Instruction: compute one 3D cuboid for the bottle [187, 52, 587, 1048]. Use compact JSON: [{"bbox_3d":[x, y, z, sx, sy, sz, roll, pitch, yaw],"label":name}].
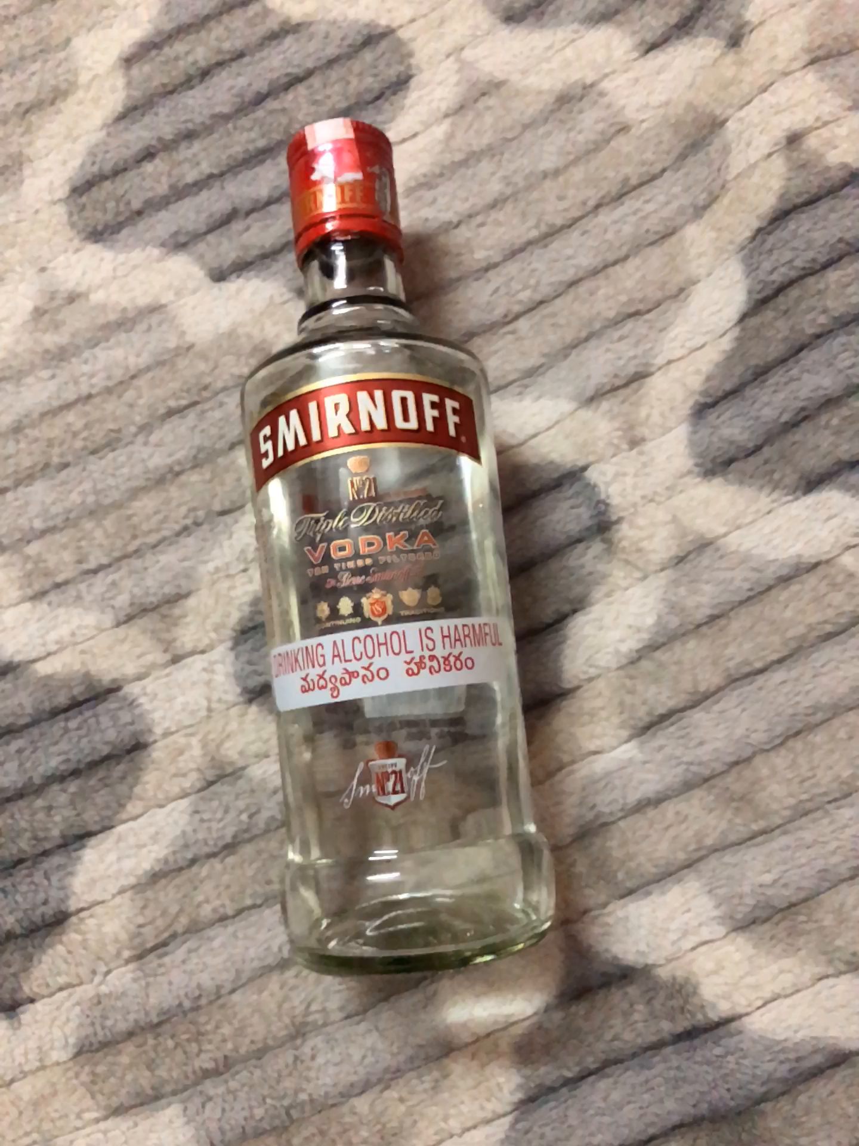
[{"bbox_3d":[-0.014,-0.011,0.253,0.070,0.060,0.230,-7,78,0],"label":"bottle"}]
